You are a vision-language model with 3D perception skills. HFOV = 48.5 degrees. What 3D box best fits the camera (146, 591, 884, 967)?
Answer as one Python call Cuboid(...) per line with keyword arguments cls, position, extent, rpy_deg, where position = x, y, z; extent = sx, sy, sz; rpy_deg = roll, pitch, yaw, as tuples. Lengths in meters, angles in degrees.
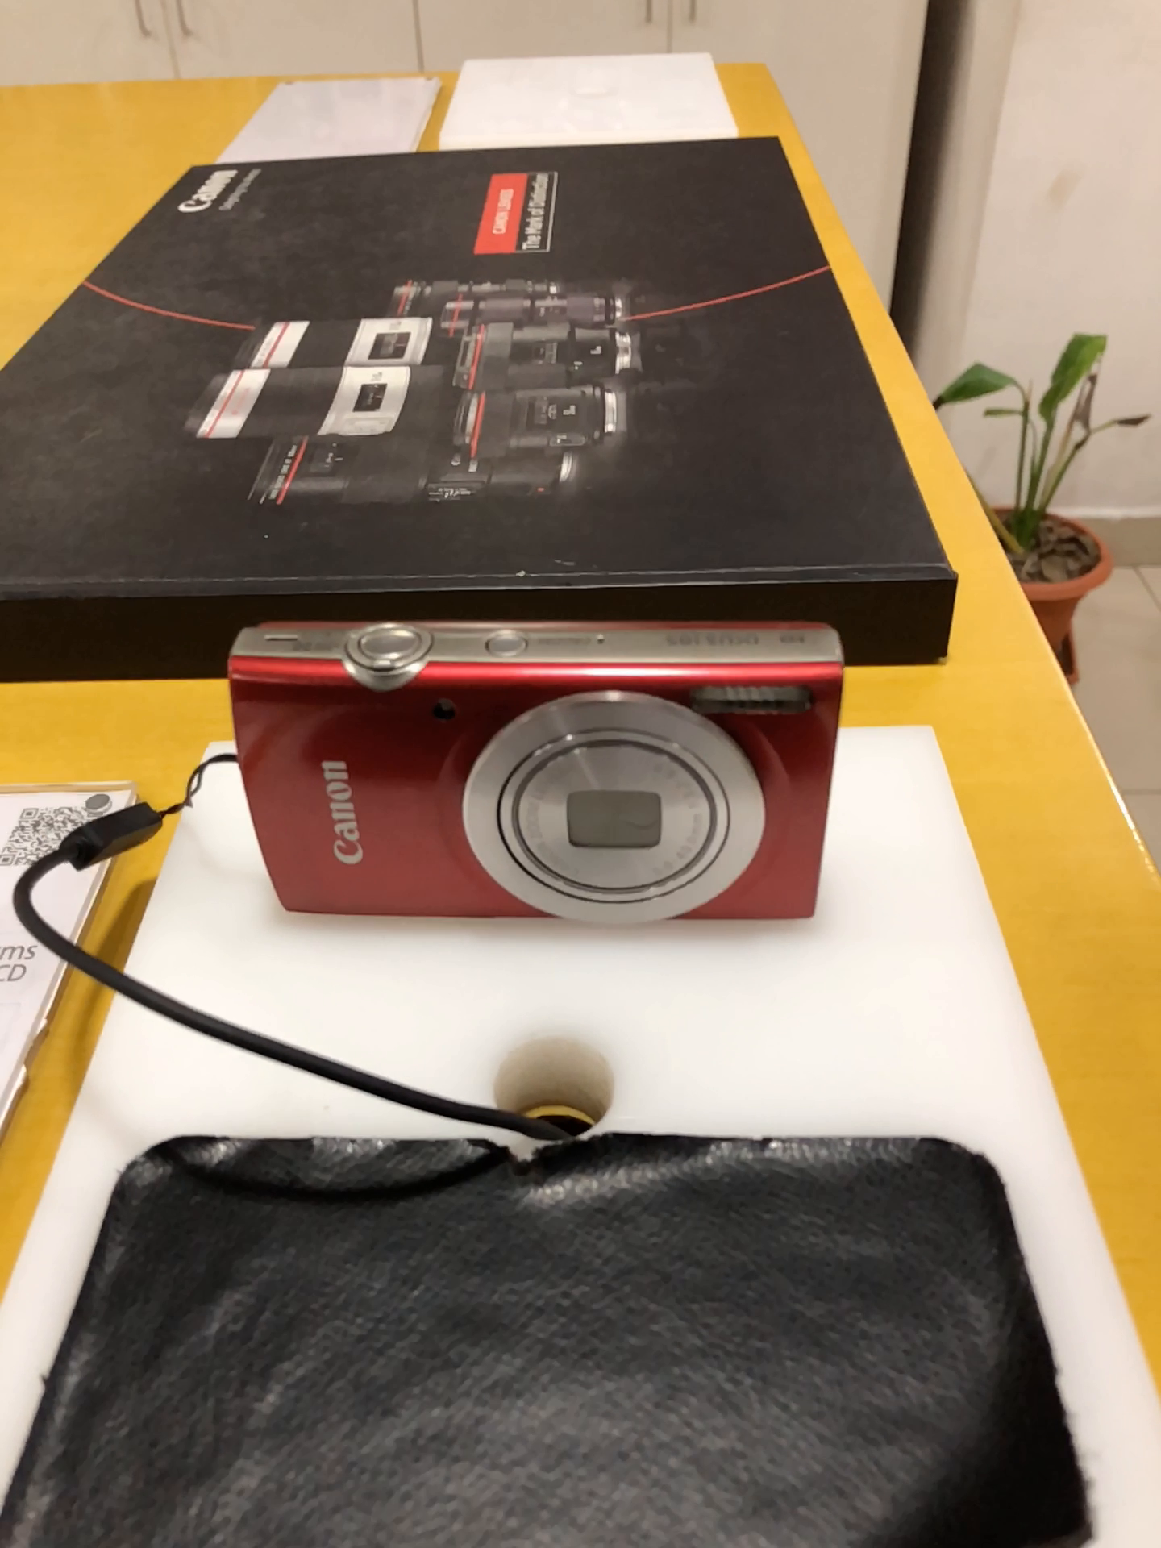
Cuboid(cls="camera", position=(-0.008, 0.001, 0.201), extent=(0.100, 0.050, 0.030), rpy_deg=(1, 39, 2))
